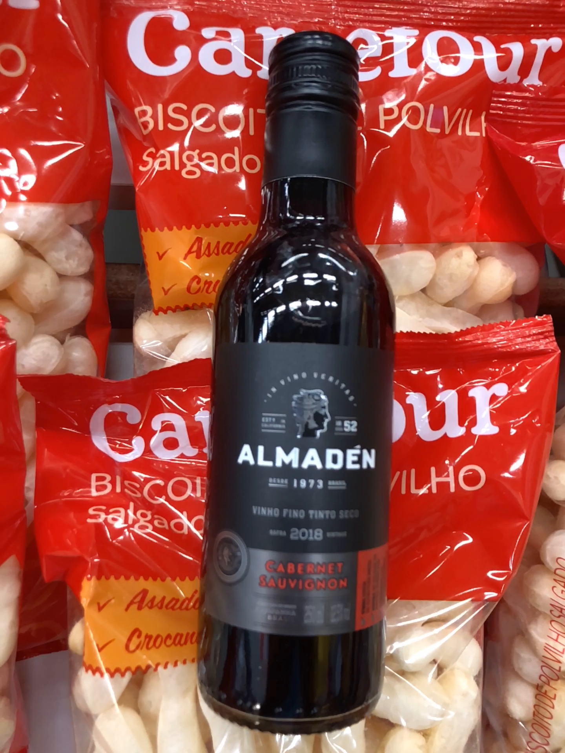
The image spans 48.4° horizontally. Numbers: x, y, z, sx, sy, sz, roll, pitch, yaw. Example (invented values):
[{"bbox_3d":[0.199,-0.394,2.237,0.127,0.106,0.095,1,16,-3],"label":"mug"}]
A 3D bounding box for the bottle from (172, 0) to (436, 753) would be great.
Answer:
[{"bbox_3d":[0.006,-0.016,0.195,0.060,0.060,0.240,4,83,-6],"label":"bottle"}]
